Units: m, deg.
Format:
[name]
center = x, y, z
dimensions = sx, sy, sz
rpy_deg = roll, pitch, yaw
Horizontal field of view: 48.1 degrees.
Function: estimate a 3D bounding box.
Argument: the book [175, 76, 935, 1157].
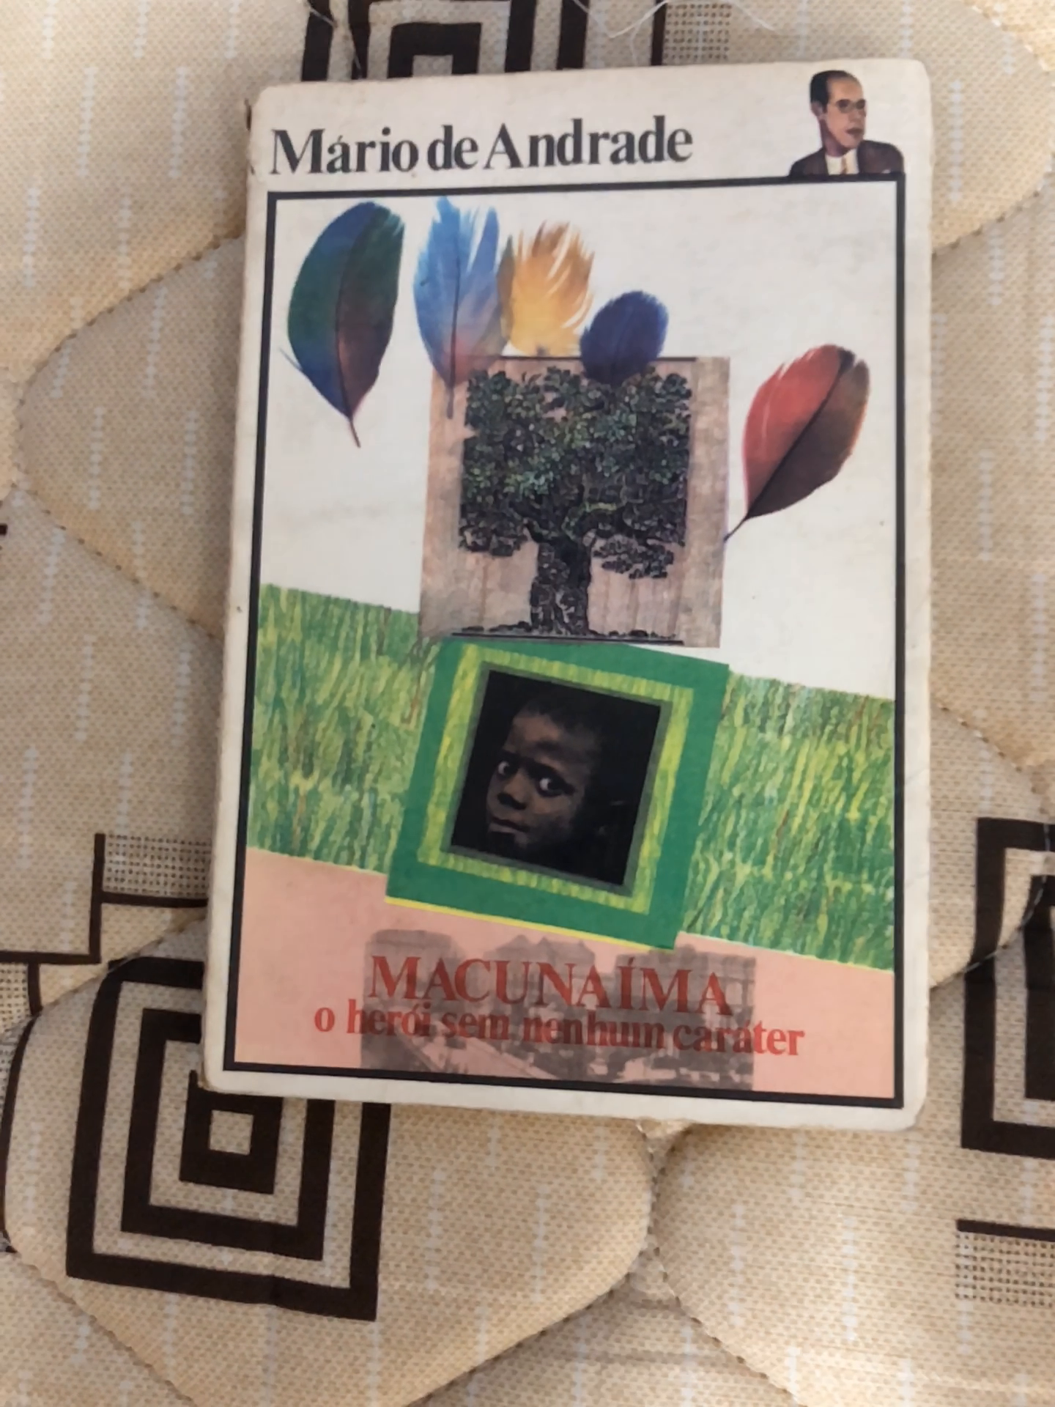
[book]
center = 0.006, -0.020, 0.222
dimensions = 0.130, 0.020, 0.190
rpy_deg = 2, 85, 6
